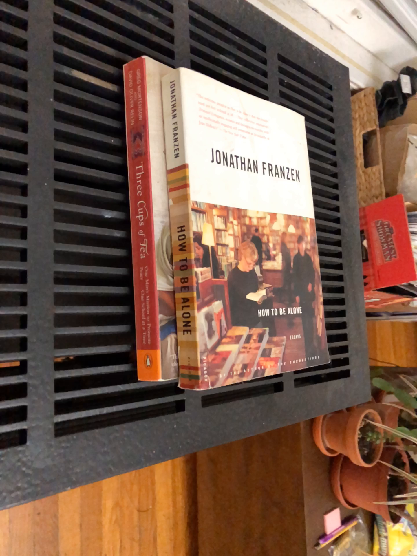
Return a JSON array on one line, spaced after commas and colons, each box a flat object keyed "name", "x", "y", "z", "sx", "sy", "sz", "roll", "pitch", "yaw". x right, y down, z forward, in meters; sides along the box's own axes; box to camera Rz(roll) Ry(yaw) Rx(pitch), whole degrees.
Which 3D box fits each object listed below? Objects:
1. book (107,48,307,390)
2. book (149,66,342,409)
[{"name": "book", "x": 0.006, "y": -0.038, "z": 0.341, "sx": 0.151, "sy": 0.030, "sz": 0.210, "roll": -1, "pitch": 85, "yaw": -44}, {"name": "book", "x": 0.035, "y": -0.027, "z": 0.341, "sx": 0.151, "sy": 0.030, "sz": 0.210, "roll": -1, "pitch": 85, "yaw": -44}]
